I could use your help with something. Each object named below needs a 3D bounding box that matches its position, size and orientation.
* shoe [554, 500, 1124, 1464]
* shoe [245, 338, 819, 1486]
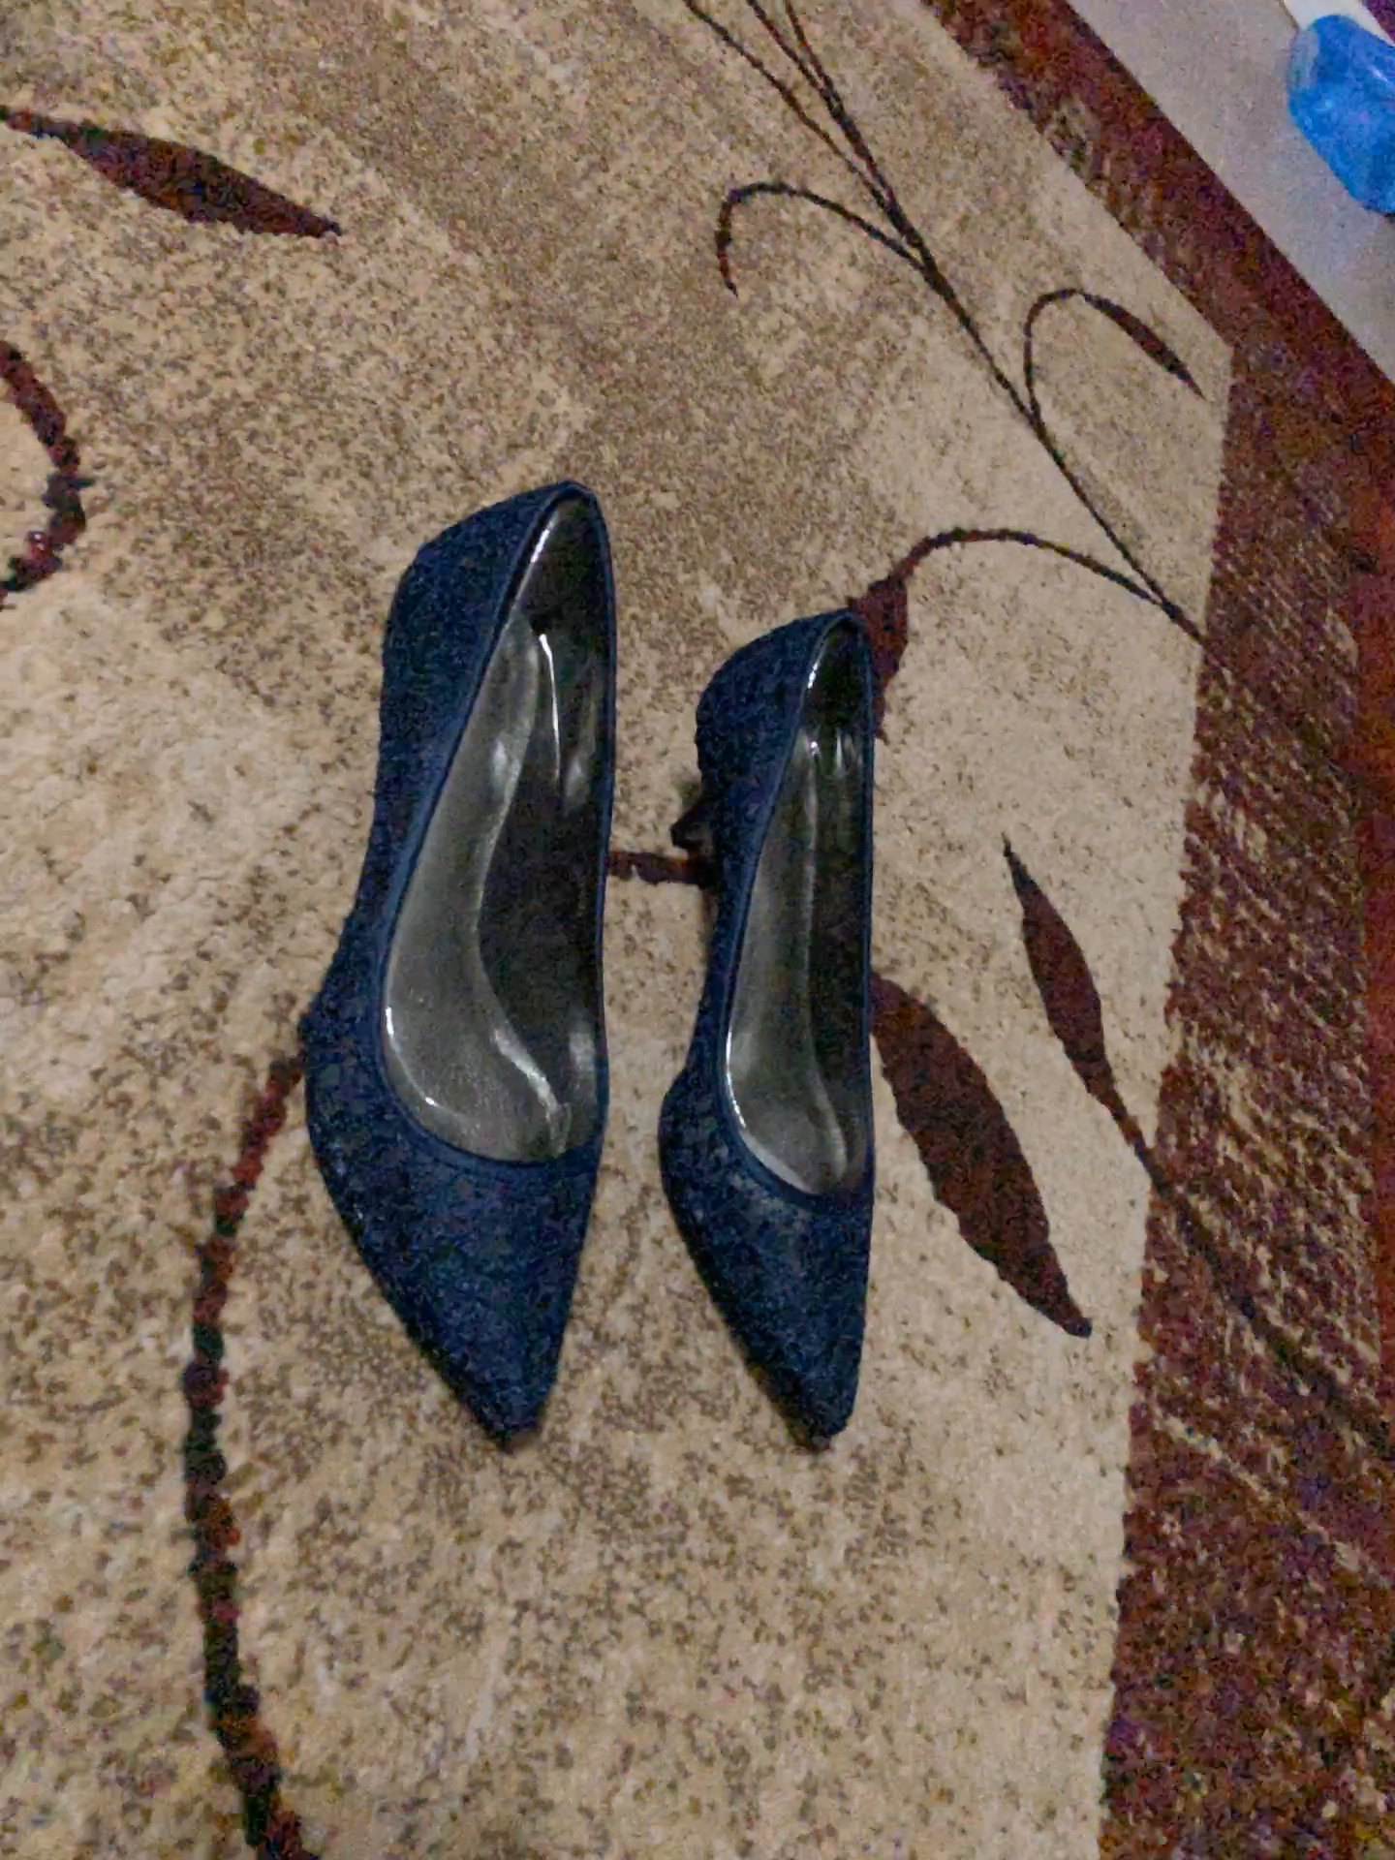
[{"bbox_3d":[0.034,0.012,0.465,0.088,0.088,0.284,8,60,-38],"label":"shoe"},{"bbox_3d":[-0.059,-0.011,0.401,0.088,0.088,0.293,8,60,-38],"label":"shoe"}]
